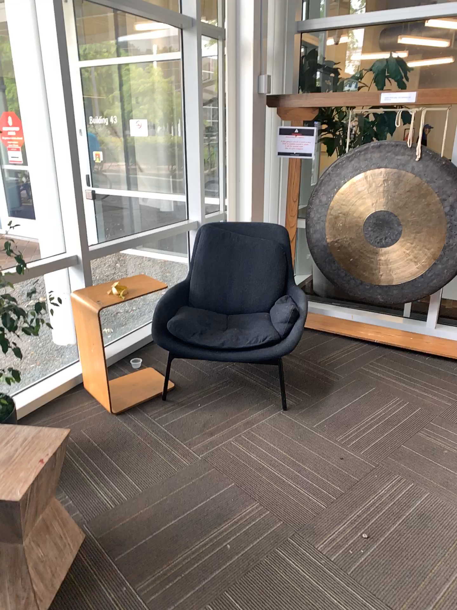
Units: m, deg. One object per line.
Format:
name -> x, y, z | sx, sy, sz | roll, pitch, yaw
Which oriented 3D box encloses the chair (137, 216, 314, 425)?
chair -> 0.036, 0.023, 2.945 | 0.900, 0.995, 0.944 | 2, 20, 7
